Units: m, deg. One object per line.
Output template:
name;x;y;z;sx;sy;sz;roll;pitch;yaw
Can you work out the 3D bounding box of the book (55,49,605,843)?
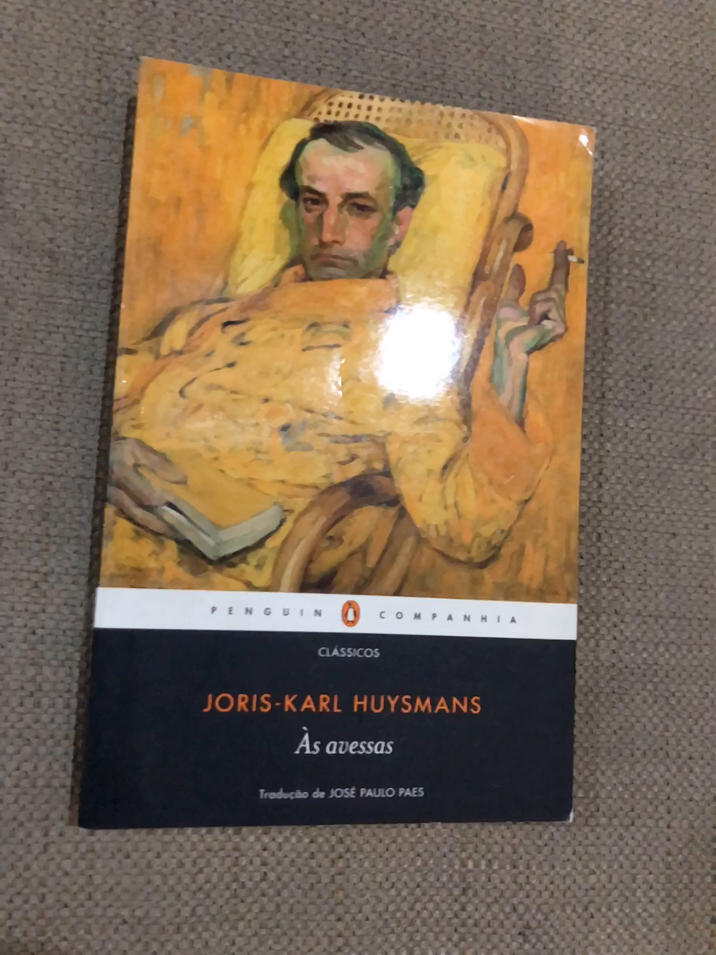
book;-0.003;-0.006;0.217;0.130;0.023;0.195;4;85;-10
